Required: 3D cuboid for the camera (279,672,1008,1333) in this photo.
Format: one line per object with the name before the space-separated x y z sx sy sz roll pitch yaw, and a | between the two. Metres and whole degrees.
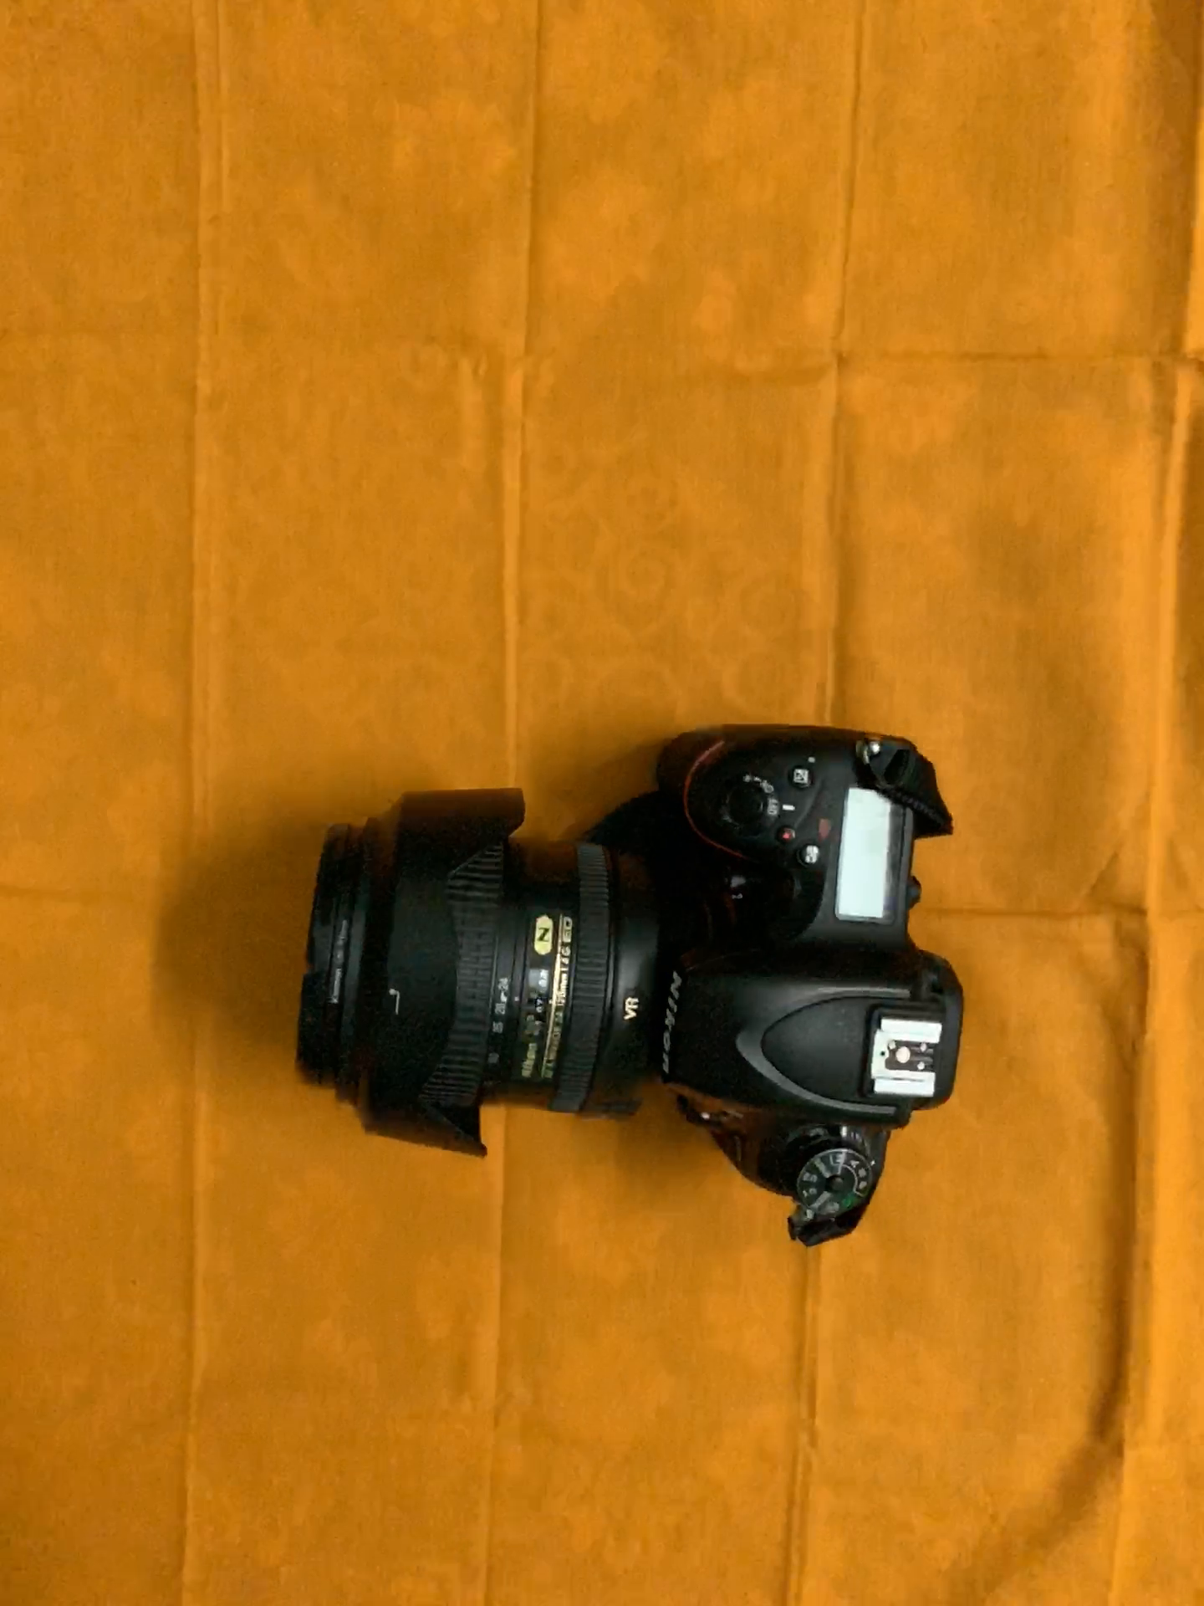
camera | 0.011 0.047 0.360 0.170 0.110 0.151 4 92 3
